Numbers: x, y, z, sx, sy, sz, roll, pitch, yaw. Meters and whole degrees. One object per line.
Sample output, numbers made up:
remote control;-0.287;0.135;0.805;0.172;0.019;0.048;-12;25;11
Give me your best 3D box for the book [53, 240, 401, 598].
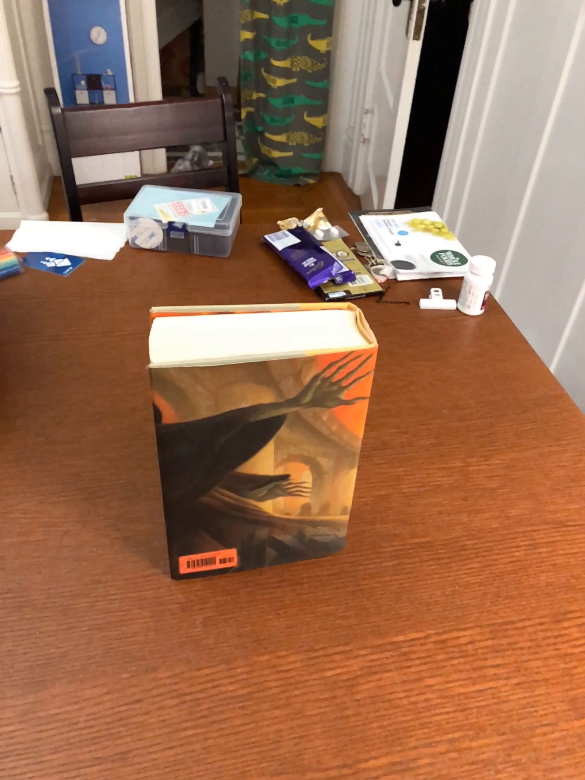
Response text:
book;-0.049;0.037;0.510;0.210;0.298;0.070;-4;40;-10
